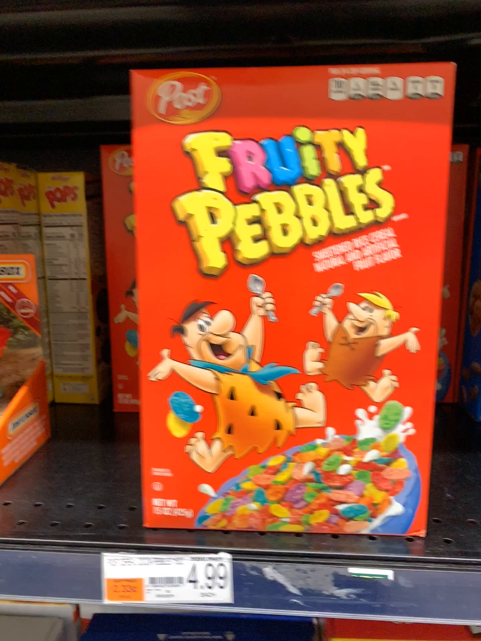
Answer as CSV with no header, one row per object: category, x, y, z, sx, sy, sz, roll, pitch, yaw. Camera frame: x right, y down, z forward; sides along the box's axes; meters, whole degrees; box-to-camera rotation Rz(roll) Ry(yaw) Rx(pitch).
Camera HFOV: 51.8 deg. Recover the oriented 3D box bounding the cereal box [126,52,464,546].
cereal box,0.033,-0.008,0.347,0.200,0.309,0.060,0,9,5
